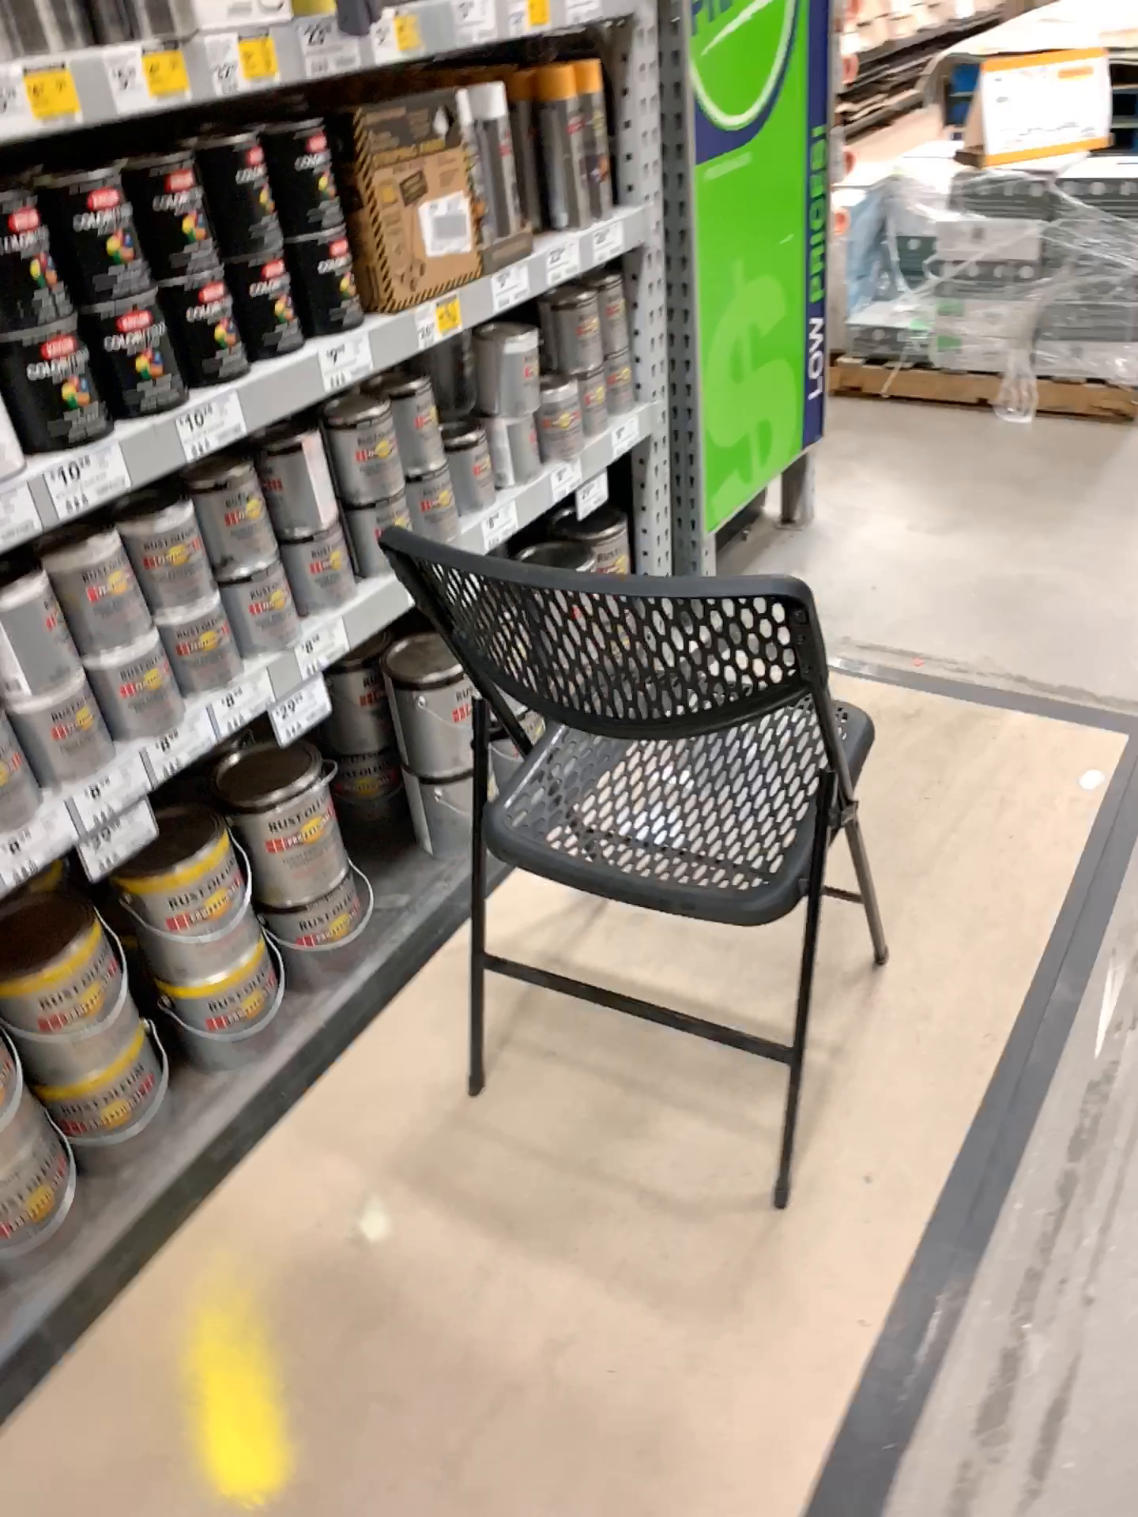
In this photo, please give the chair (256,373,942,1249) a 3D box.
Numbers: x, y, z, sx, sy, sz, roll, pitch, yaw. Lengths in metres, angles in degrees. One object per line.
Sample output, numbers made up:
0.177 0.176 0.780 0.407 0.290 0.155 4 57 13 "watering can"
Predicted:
0.092 0.038 1.395 0.519 0.814 0.517 12 38 25 "chair"
